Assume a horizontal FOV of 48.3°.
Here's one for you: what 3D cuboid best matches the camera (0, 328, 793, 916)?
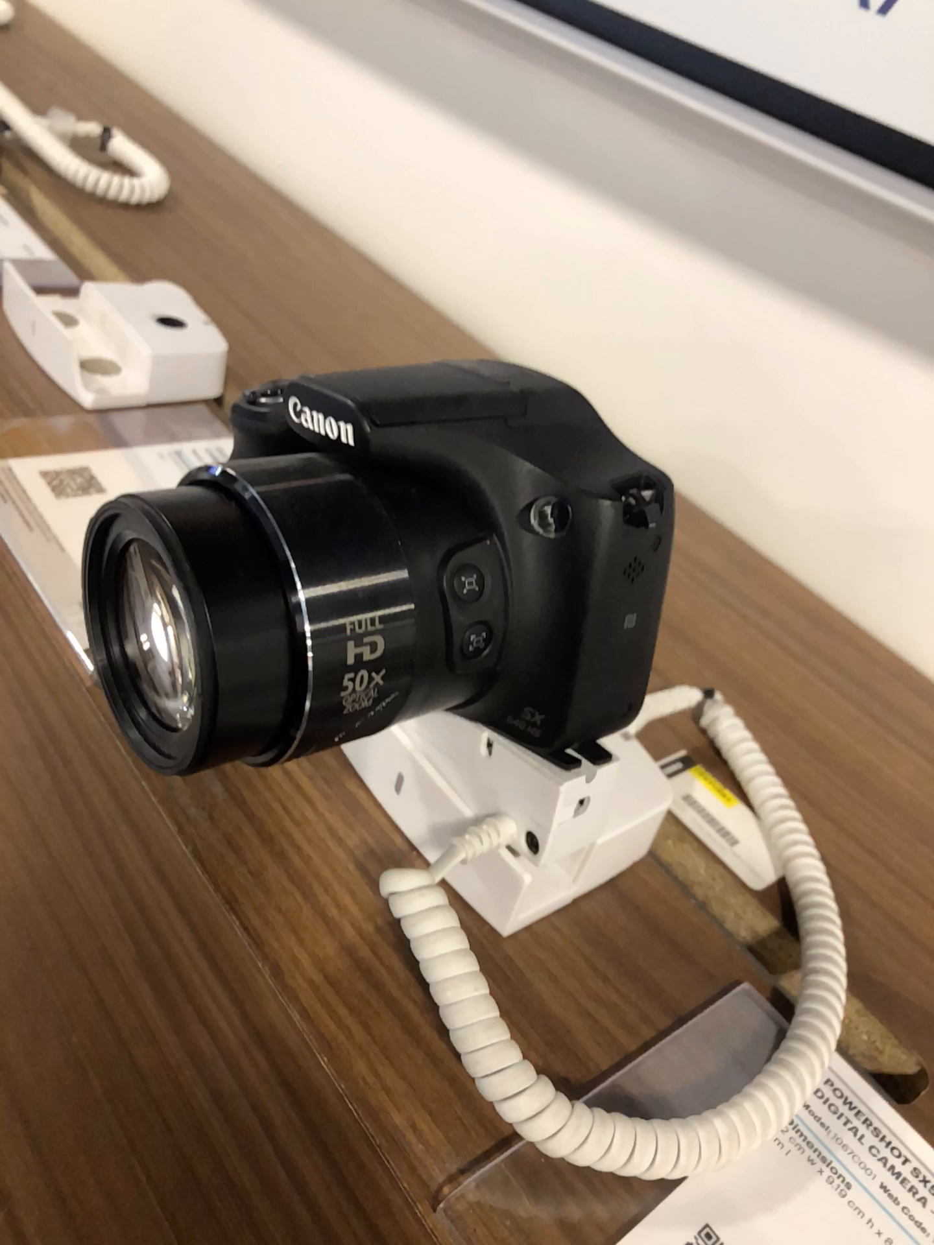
[{"bbox_3d":[-0.023,-0.021,0.250,0.140,0.070,0.130,-16,33,-41],"label":"camera"}]
